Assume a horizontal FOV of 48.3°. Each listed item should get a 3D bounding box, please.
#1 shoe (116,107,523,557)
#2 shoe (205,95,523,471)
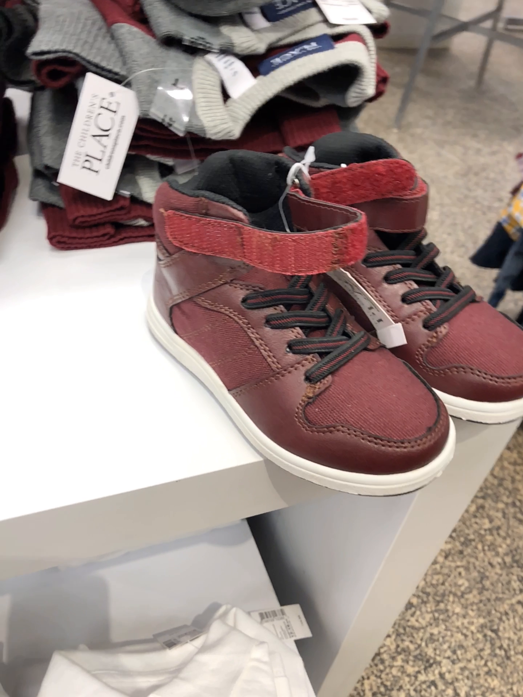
[{"bbox_3d":[0.020,-0.015,0.243,0.160,0.100,0.070,37,51,27],"label":"shoe"},{"bbox_3d":[0.062,-0.044,0.307,0.180,0.100,0.080,37,51,27],"label":"shoe"}]
